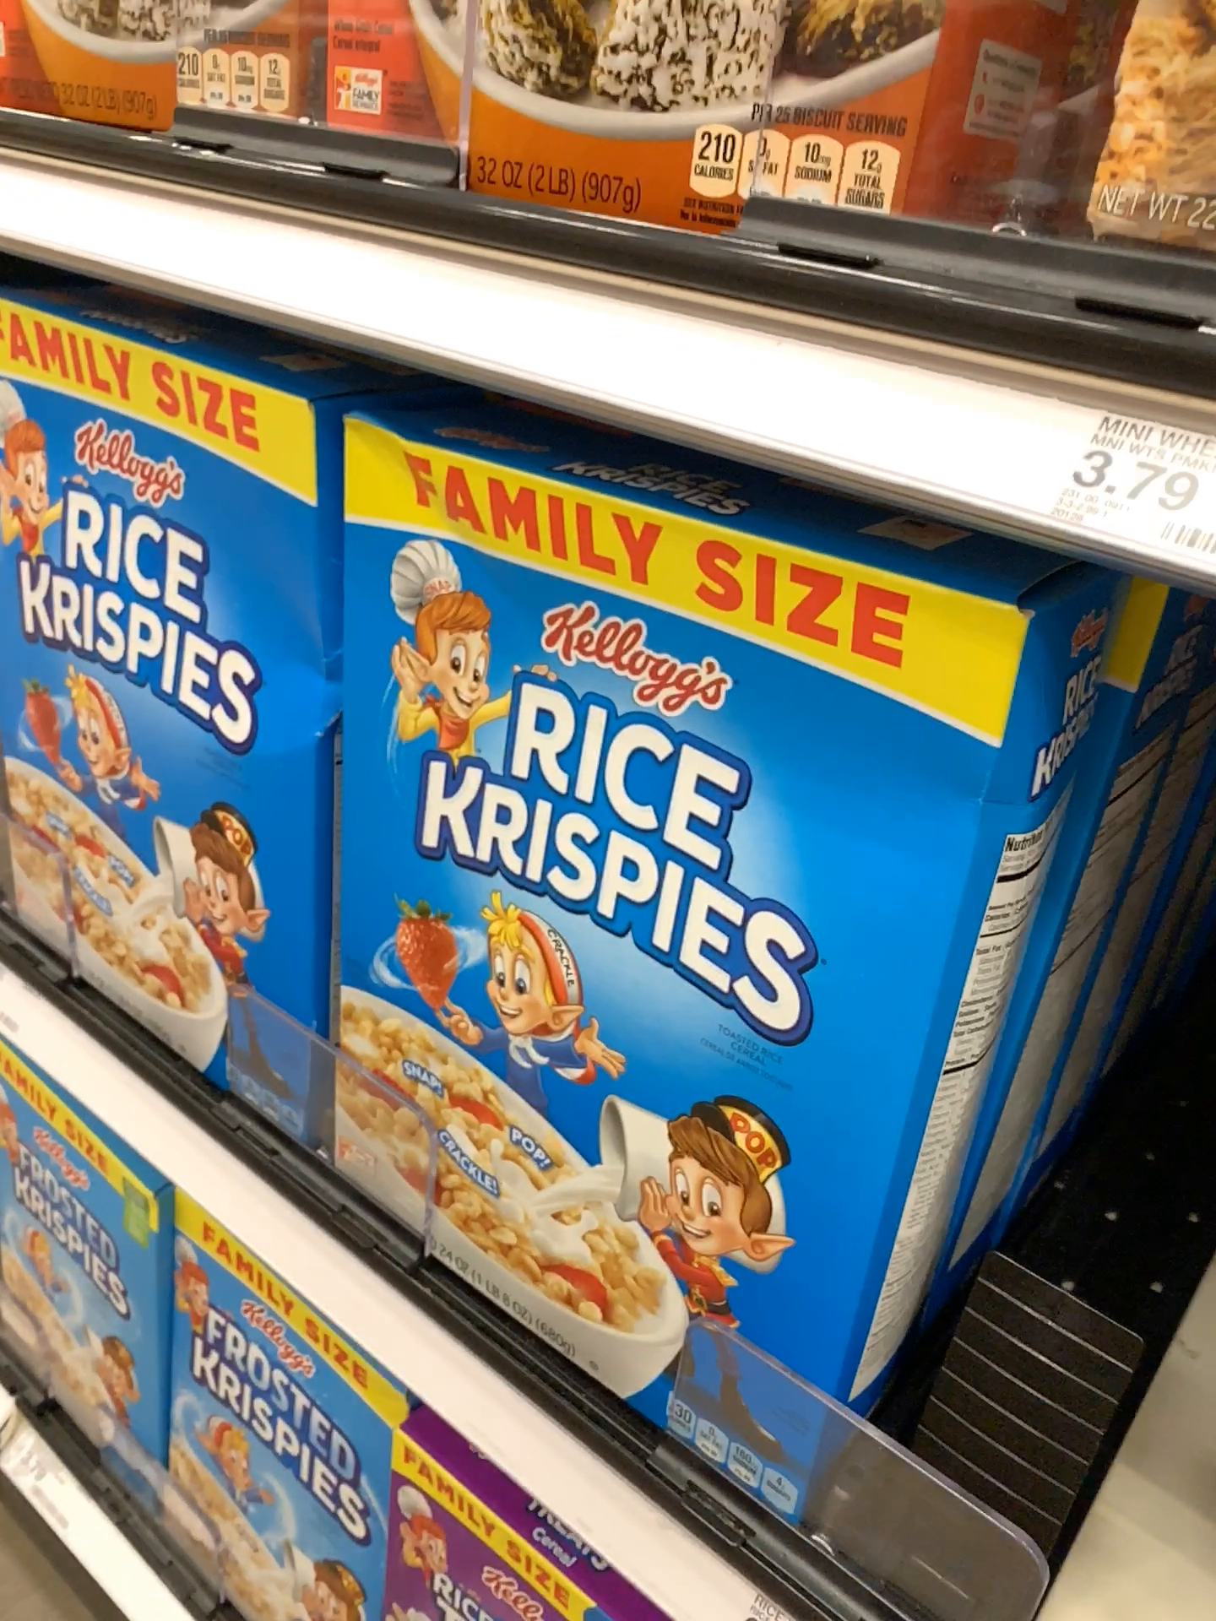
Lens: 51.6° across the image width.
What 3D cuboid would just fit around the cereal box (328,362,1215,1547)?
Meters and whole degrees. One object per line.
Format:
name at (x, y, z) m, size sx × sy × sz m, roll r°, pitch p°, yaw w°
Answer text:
cereal box at (0.026, 0.044, 0.460) m, size 0.250 × 0.348 × 0.100 m, roll 24°, pitch 31°, yaw 29°
